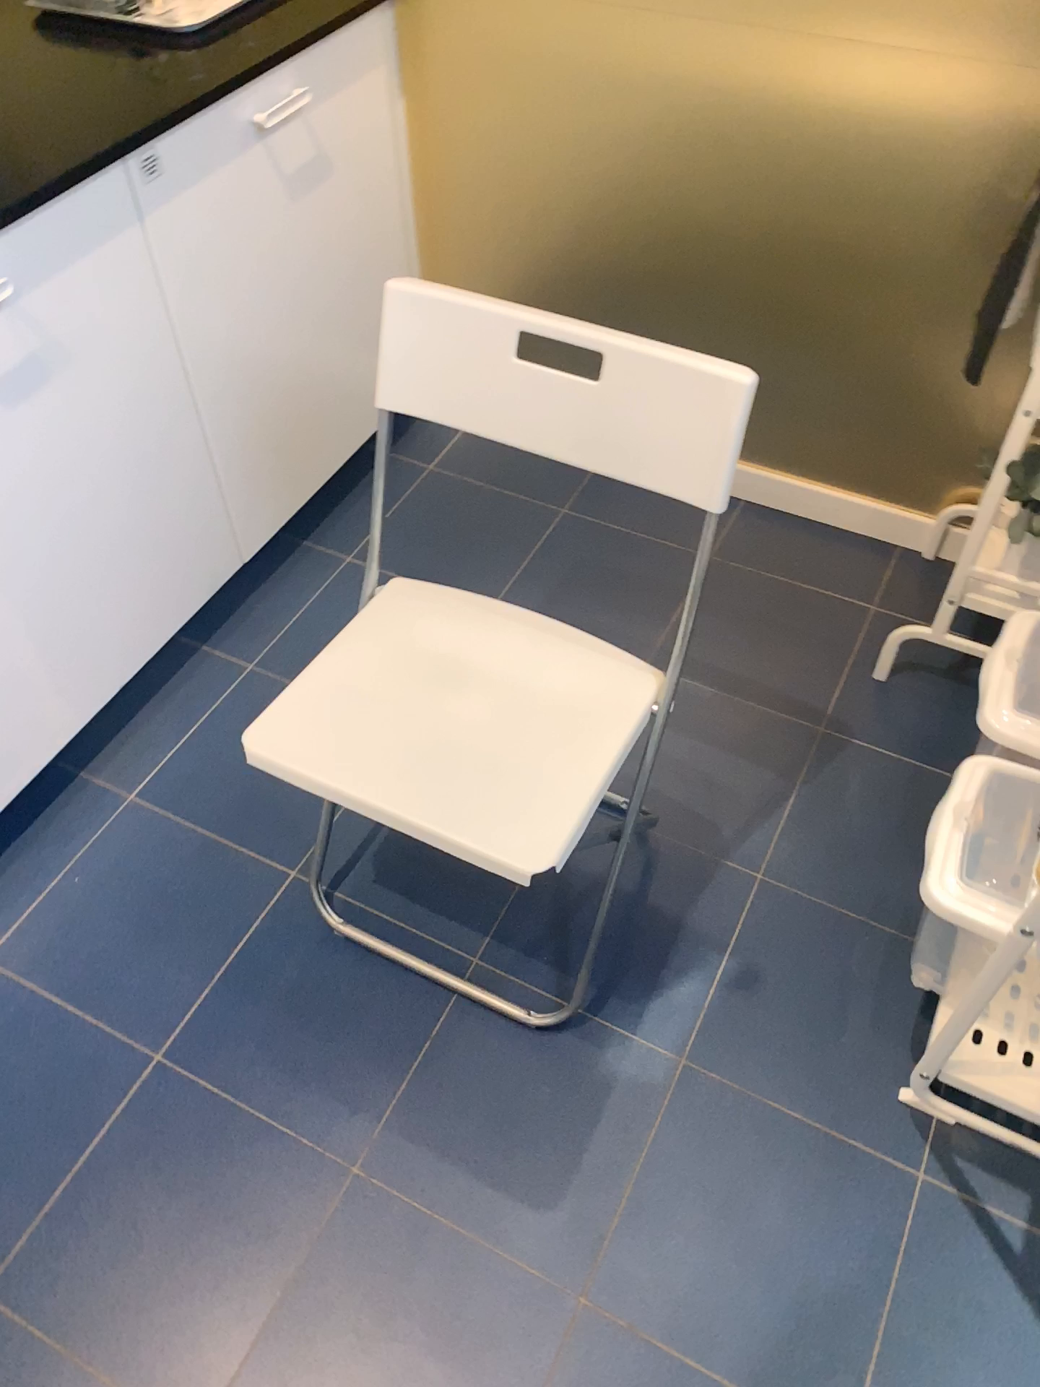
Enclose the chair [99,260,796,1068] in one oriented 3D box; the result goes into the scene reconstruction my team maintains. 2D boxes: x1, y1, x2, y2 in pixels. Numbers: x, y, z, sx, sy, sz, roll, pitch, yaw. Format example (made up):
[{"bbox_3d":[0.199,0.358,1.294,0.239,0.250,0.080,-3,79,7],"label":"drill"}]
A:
[{"bbox_3d":[-0.041,-0.008,1.215,0.461,0.708,0.451,21,53,19],"label":"chair"}]
